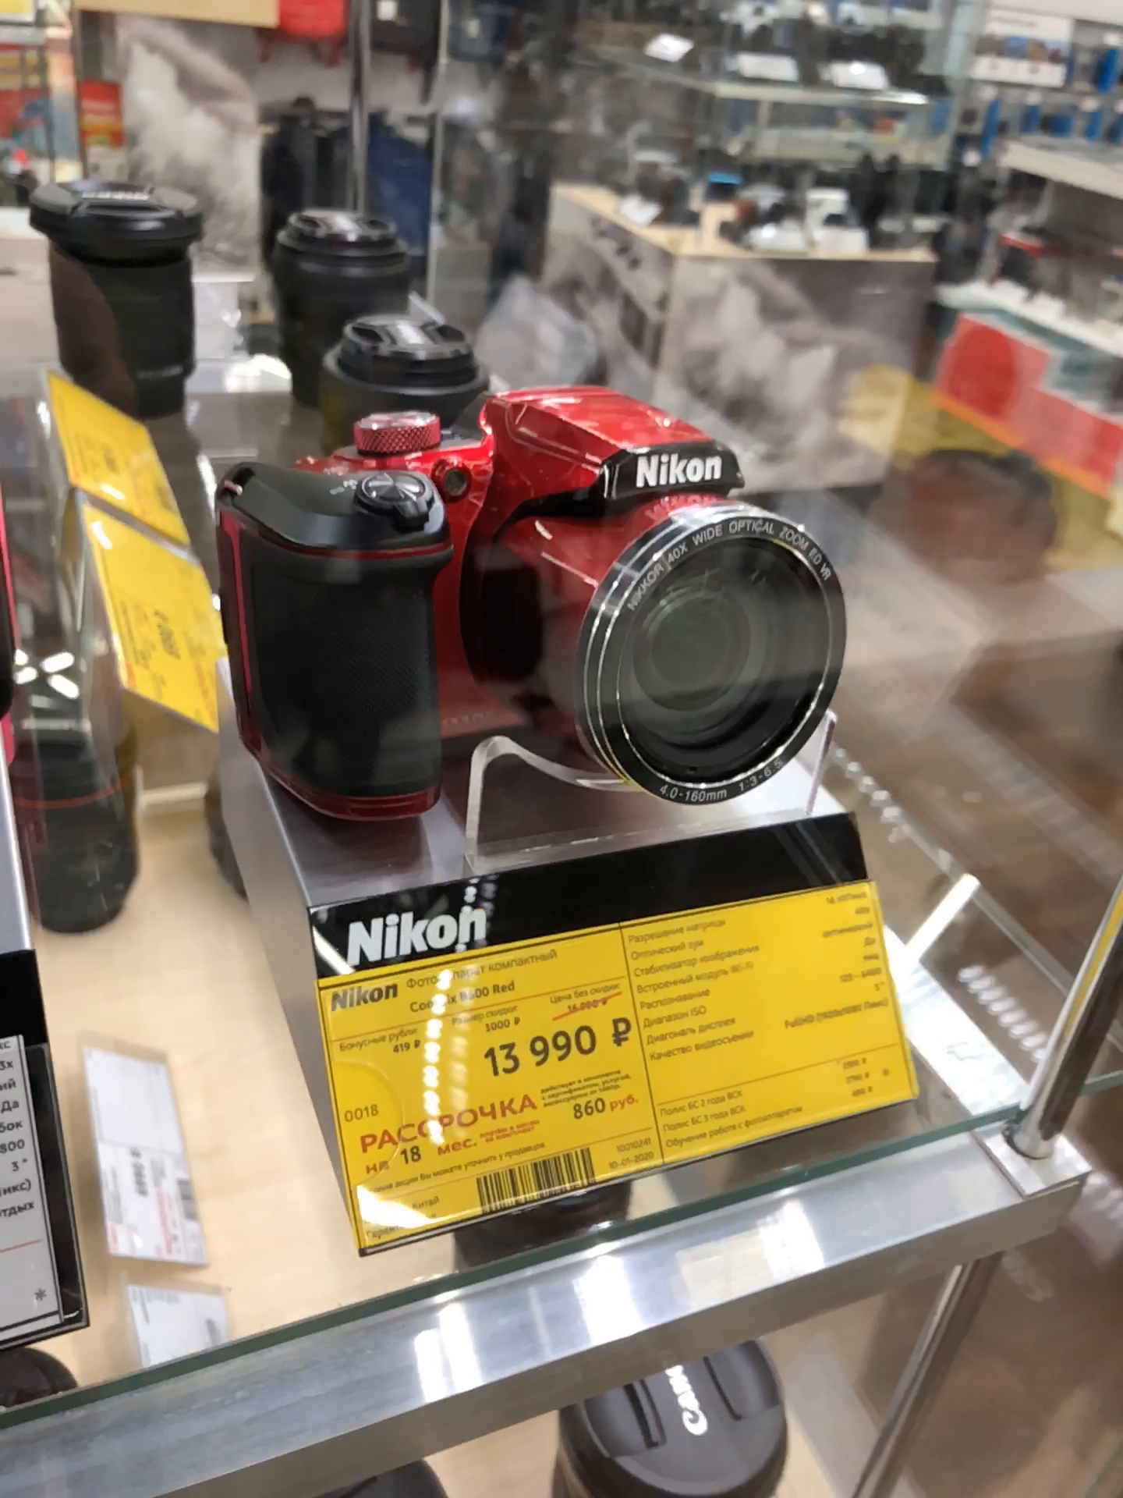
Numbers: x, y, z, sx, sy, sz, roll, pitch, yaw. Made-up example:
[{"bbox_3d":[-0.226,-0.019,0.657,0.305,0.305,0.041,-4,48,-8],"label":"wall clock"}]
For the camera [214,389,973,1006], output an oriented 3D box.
[{"bbox_3d":[-0.003,-0.022,0.274,0.120,0.076,0.111,-8,36,-23],"label":"camera"}]
